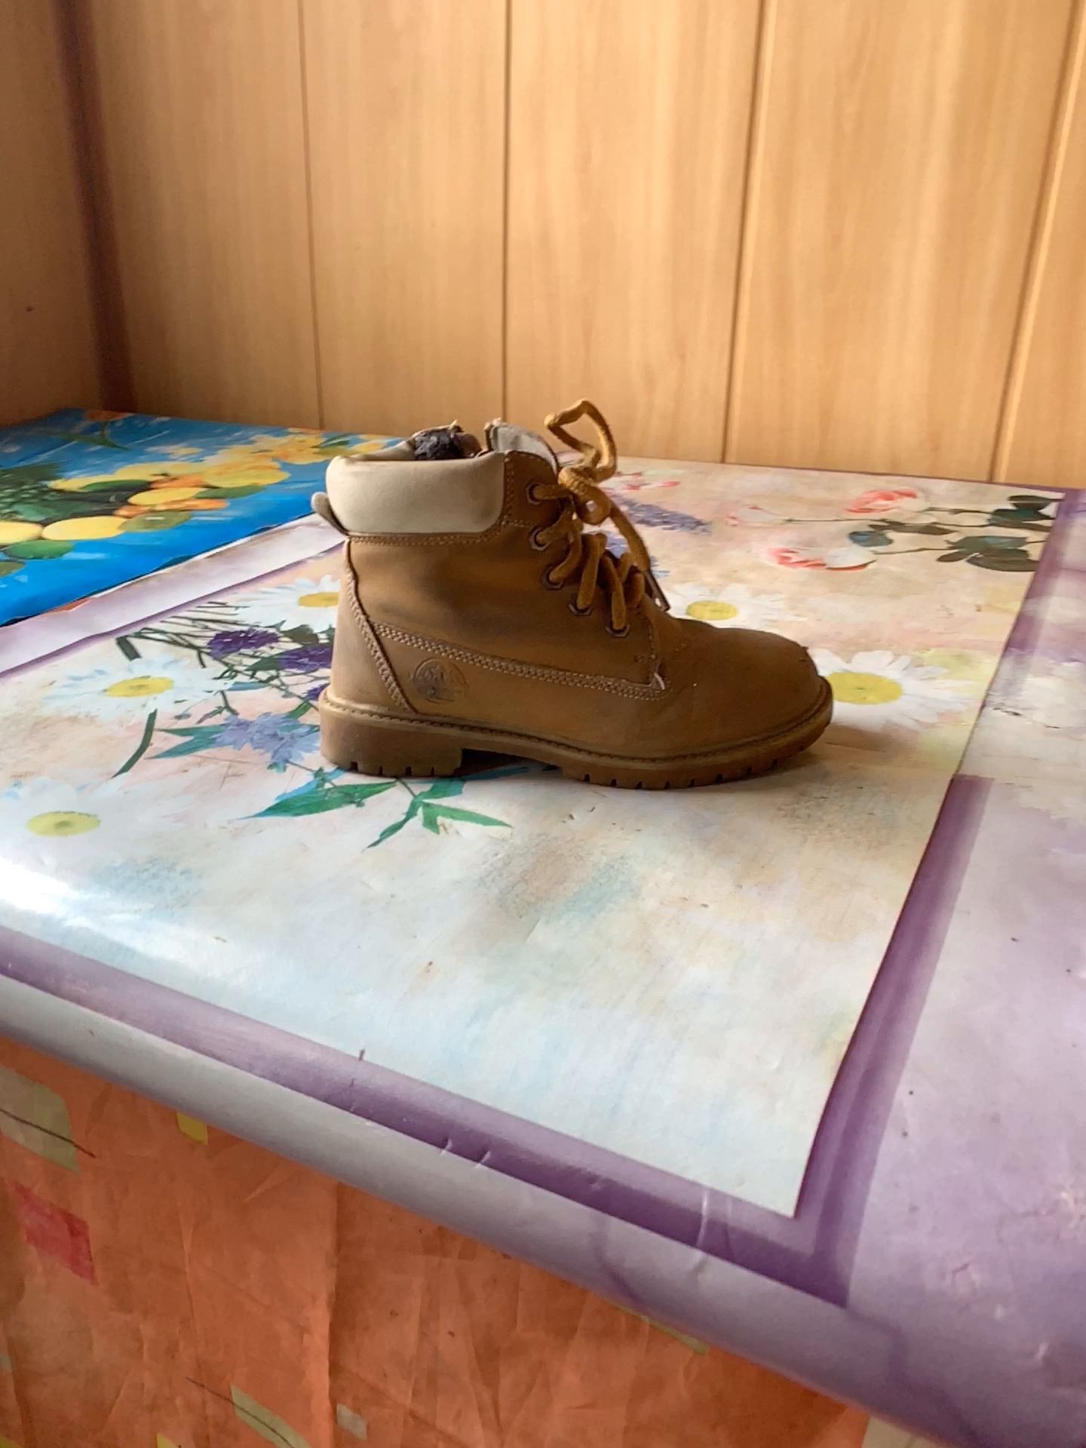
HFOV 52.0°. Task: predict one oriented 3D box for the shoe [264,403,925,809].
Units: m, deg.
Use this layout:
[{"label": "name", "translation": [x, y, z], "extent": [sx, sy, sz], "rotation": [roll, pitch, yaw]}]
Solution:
[{"label": "shoe", "translation": [0.017, -0.050, 0.437], "extent": [0.220, 0.129, 0.091], "rotation": [2, 23, 3]}]
